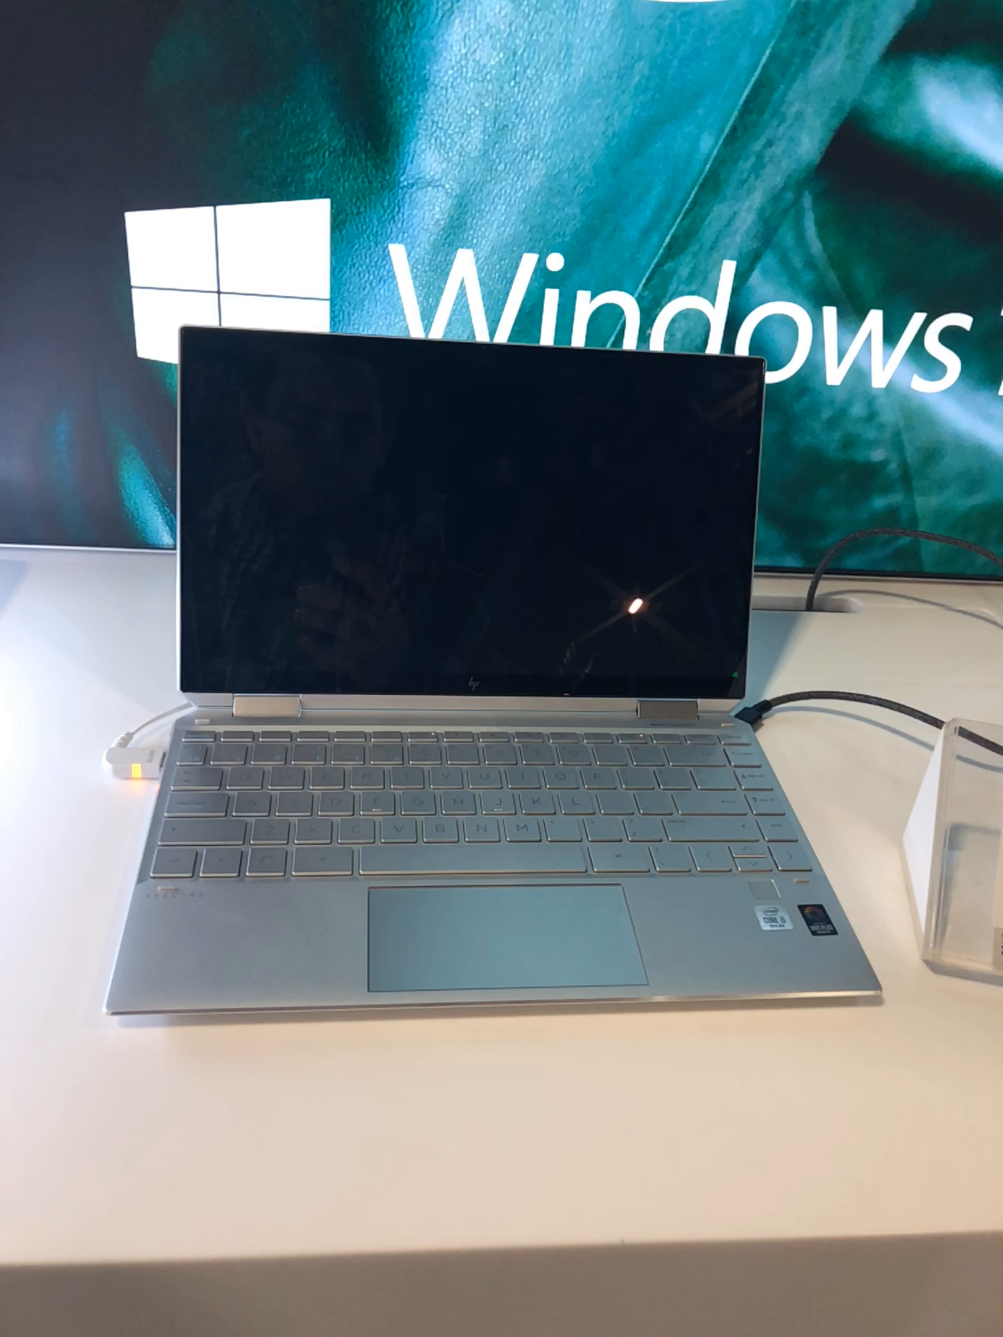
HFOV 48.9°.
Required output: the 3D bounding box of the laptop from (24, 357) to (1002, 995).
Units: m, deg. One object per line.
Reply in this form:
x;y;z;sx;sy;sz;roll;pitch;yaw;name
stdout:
-0.008;-0.008;0.465;0.281;0.194;0.241;2;26;-8;laptop
